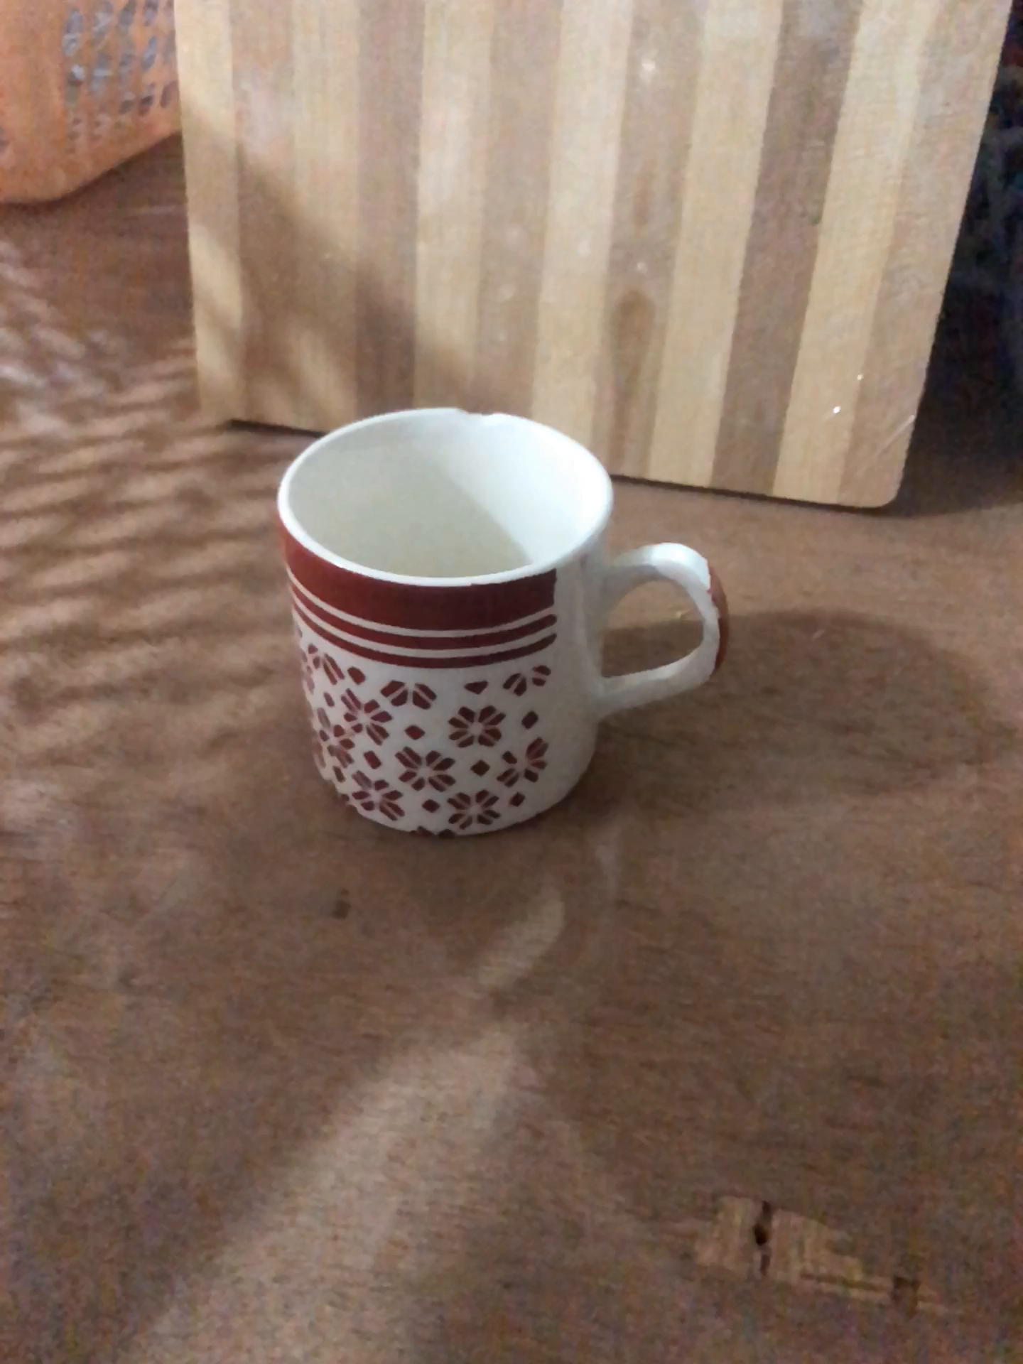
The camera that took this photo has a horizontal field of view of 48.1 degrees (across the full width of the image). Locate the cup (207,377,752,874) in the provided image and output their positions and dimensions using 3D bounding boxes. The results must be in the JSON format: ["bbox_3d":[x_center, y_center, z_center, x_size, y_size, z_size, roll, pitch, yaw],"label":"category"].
[{"bbox_3d":[-0.002,-0.013,0.237,0.090,0.070,0.070,3,41,5],"label":"cup"}]
